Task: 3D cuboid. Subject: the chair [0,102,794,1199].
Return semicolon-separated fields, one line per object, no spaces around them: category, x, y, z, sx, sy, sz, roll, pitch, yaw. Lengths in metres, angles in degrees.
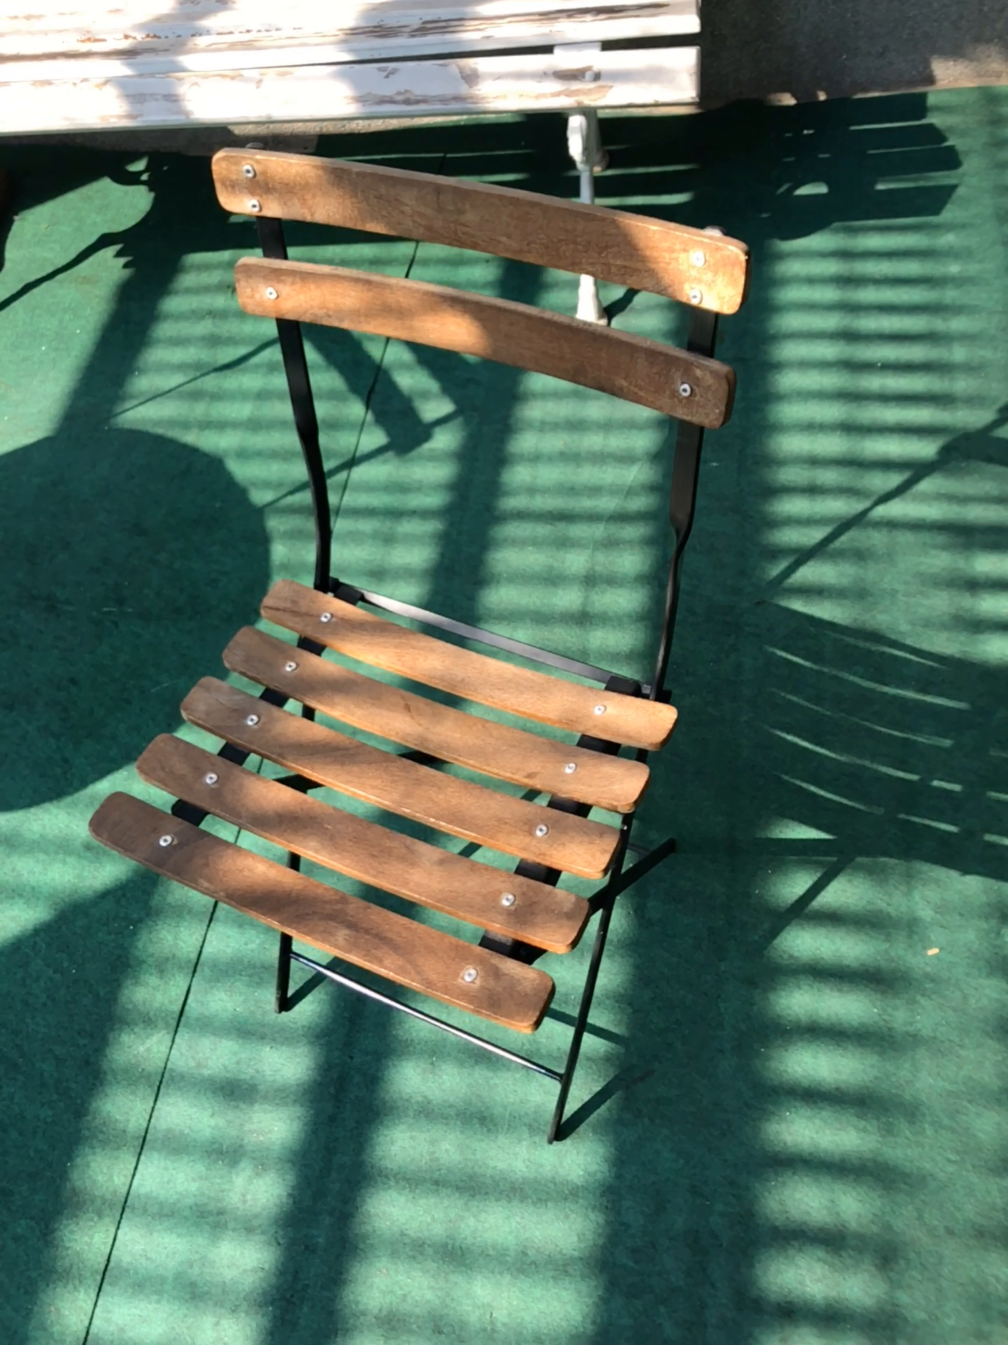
chair;-0.078;0.039;0.812;0.390;0.657;0.402;19;60;19
